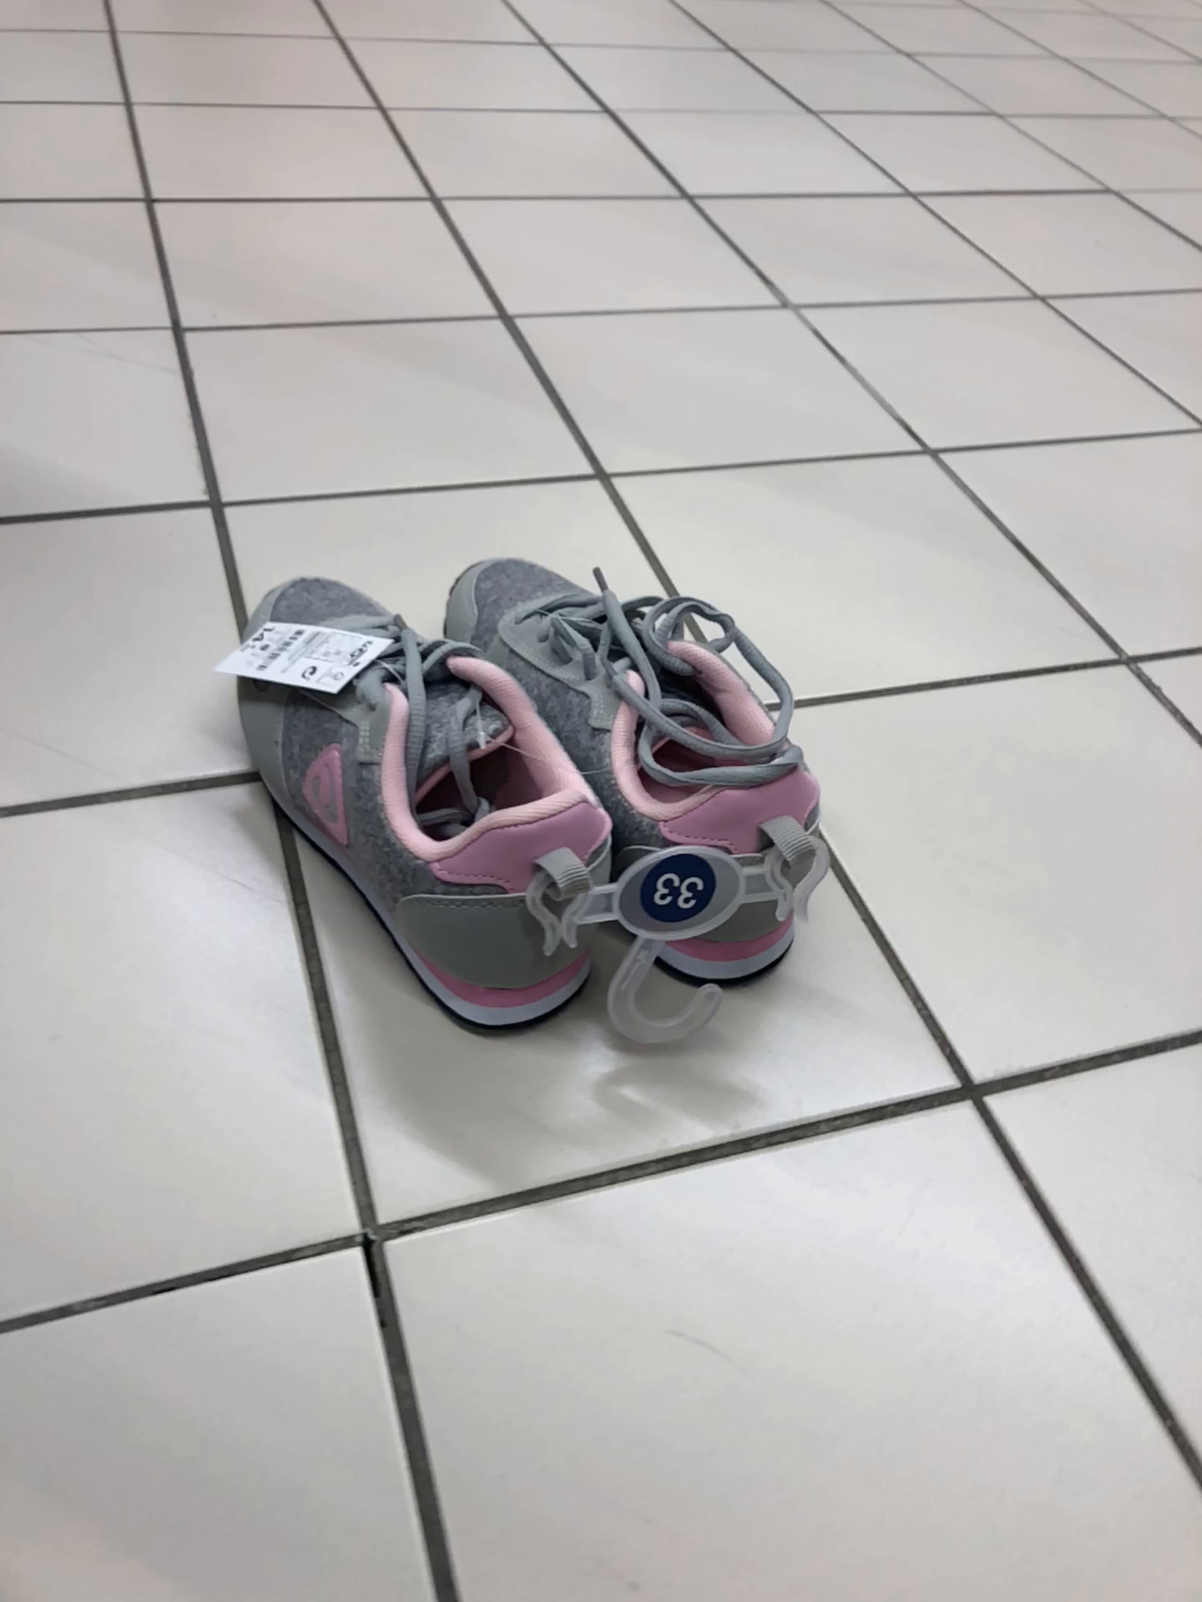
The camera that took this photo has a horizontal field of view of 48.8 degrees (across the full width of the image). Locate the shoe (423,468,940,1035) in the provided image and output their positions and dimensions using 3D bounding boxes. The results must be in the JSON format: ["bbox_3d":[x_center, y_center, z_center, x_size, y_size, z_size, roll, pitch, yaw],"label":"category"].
[{"bbox_3d":[0.016,-0.030,0.499,0.082,0.083,0.214,-18,48,-25],"label":"shoe"}]

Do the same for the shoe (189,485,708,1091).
[{"bbox_3d":[-0.064,-0.017,0.472,0.082,0.083,0.214,-20,49,-27],"label":"shoe"}]
